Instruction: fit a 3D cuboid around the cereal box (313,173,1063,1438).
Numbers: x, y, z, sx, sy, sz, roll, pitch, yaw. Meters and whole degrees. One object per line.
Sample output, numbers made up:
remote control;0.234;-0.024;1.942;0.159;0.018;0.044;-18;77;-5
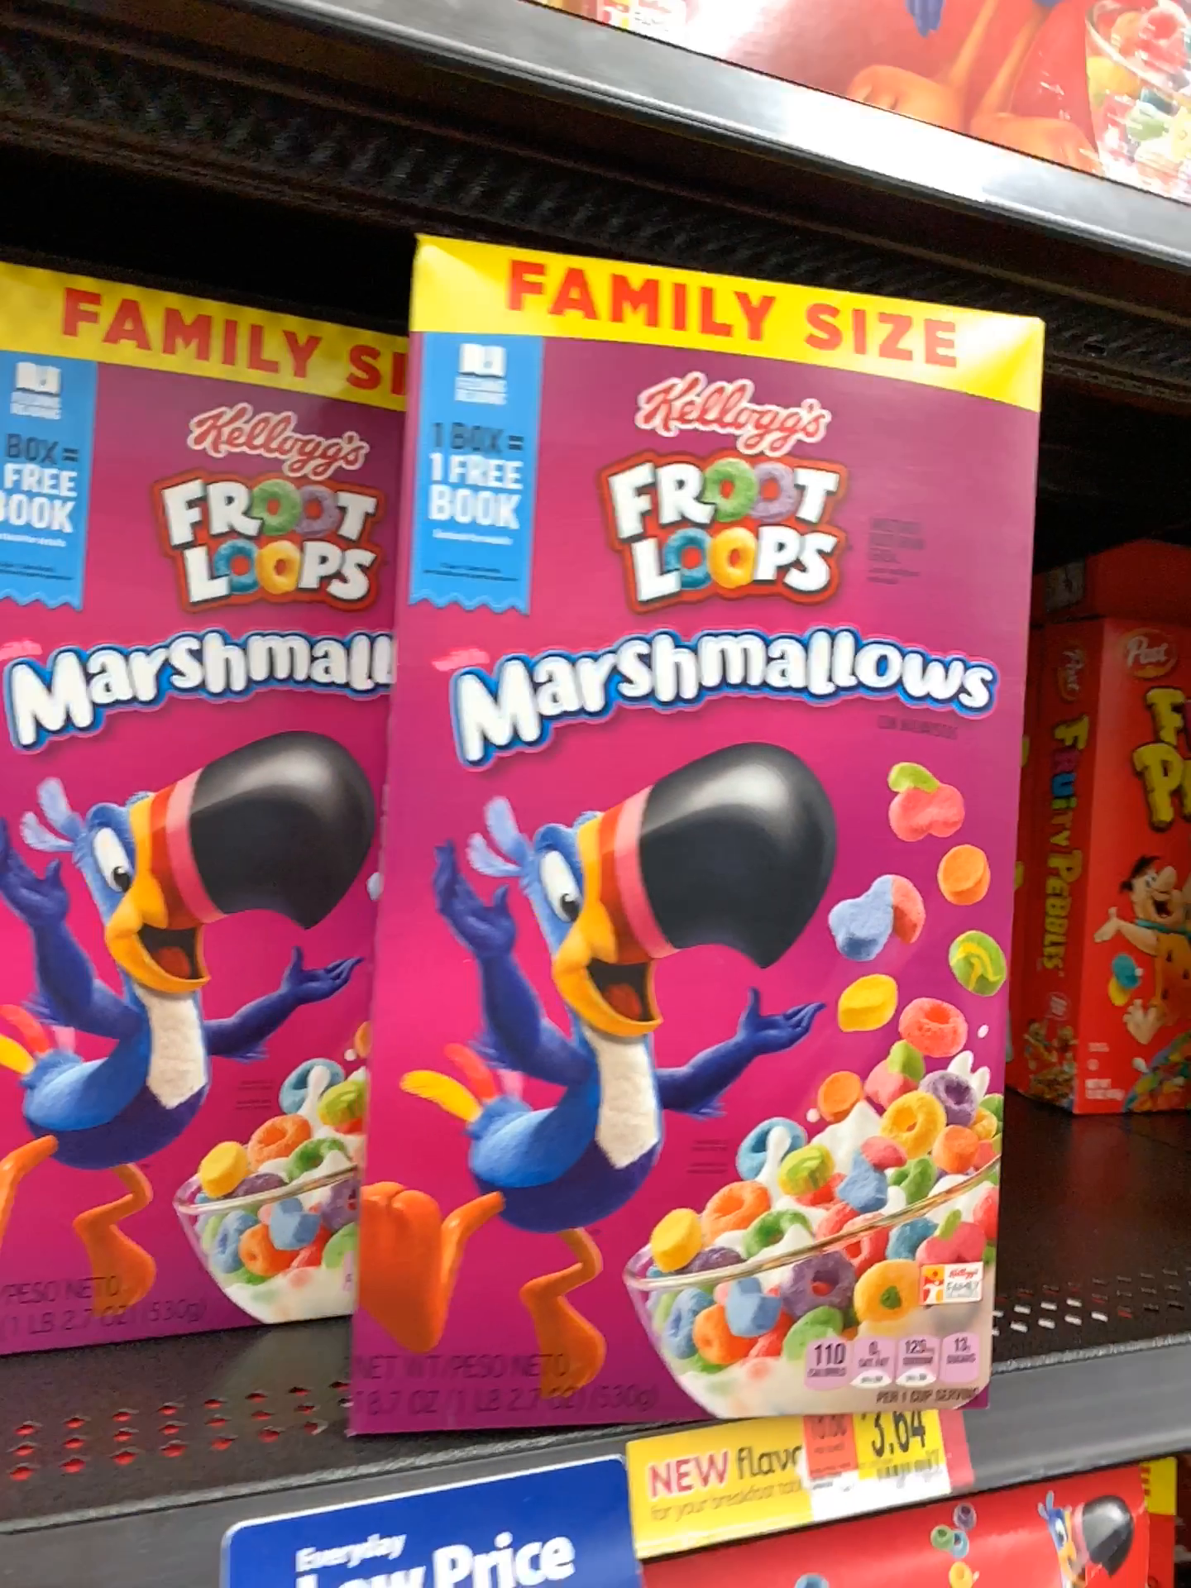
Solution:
cereal box;0.025;0.007;0.388;0.200;0.340;0.080;3;-1;-10
